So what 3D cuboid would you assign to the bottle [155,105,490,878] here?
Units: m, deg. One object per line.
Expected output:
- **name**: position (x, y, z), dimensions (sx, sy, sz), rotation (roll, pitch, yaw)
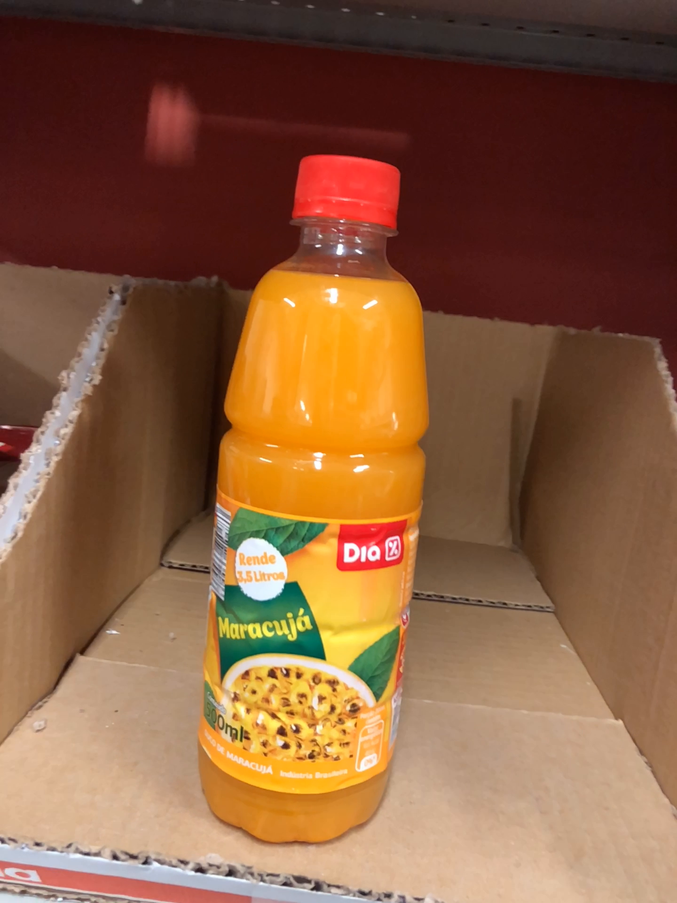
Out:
- **bottle**: position (-0.003, 0.010, 0.232), dimensions (0.070, 0.199, 0.070), rotation (5, 11, -1)
